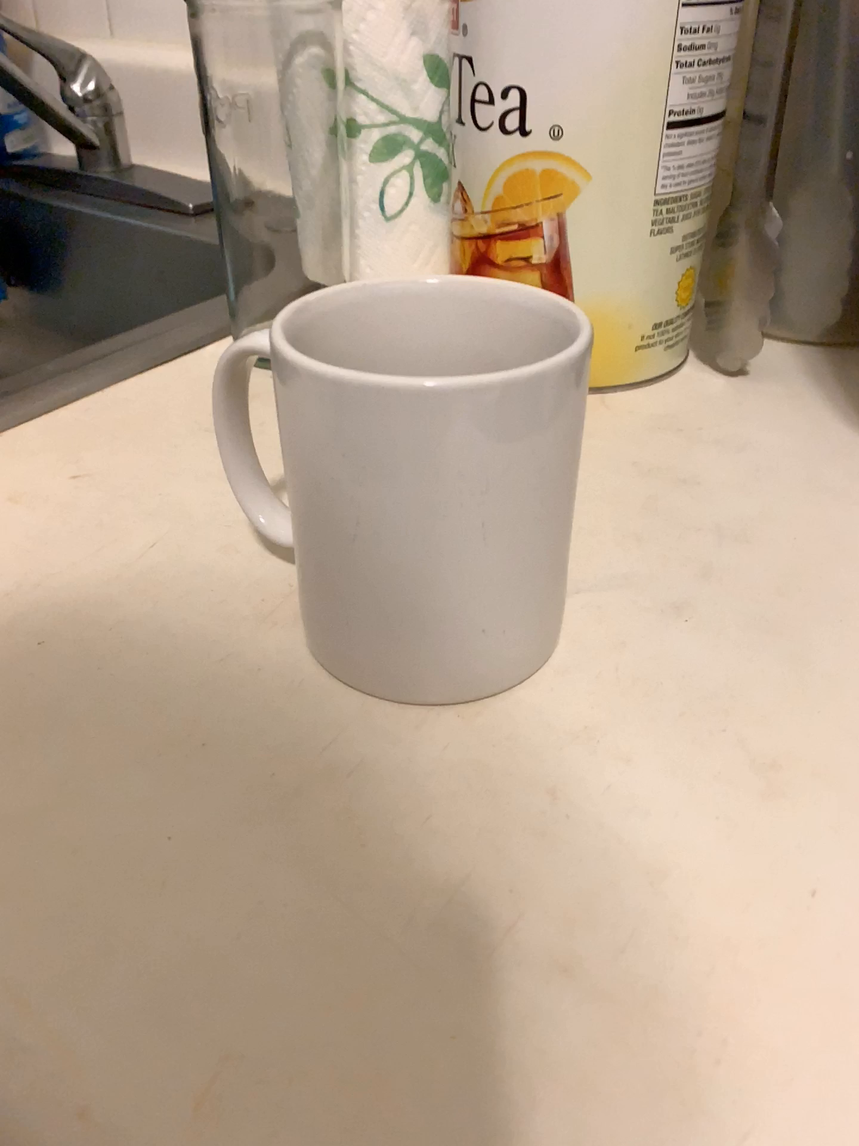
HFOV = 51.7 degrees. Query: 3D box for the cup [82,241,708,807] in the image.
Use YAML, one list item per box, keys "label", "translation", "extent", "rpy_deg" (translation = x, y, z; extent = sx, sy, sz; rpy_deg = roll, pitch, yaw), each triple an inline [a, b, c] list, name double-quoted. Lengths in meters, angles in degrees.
- label: "cup"
  translation: [-0.007, -0.024, 0.267]
  extent: [0.140, 0.109, 0.090]
  rpy_deg: [16, 38, 21]
